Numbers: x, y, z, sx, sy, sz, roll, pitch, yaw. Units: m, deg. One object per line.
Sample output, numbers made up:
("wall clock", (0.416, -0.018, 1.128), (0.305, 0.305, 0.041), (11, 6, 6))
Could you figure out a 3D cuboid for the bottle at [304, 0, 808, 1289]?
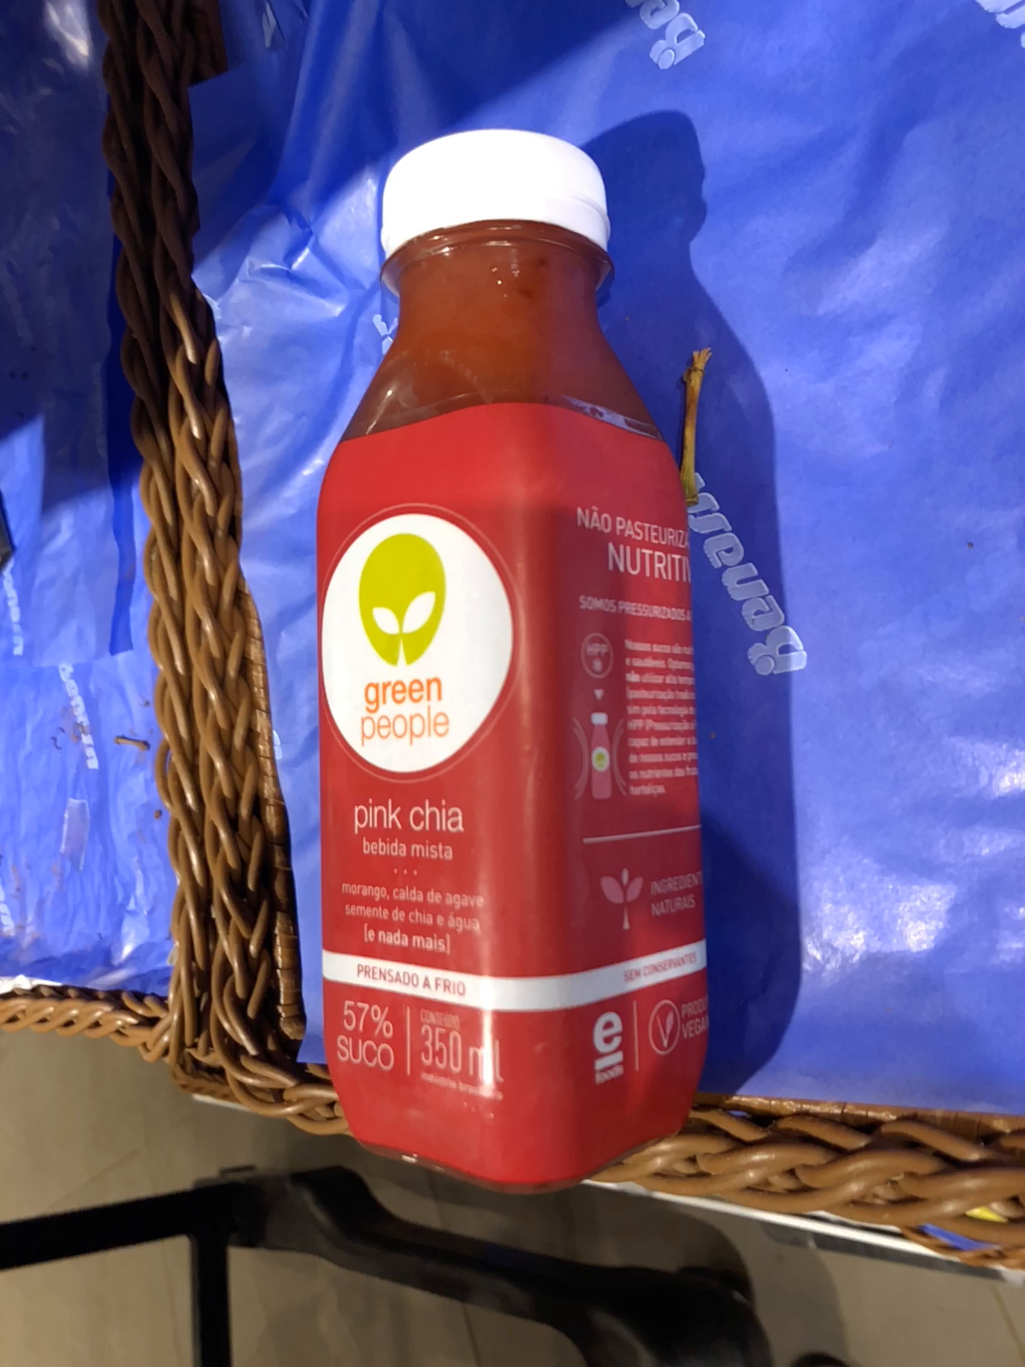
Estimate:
("bottle", (0.009, -0.013, 0.198), (0.060, 0.060, 0.190), (-2, 86, 44))
